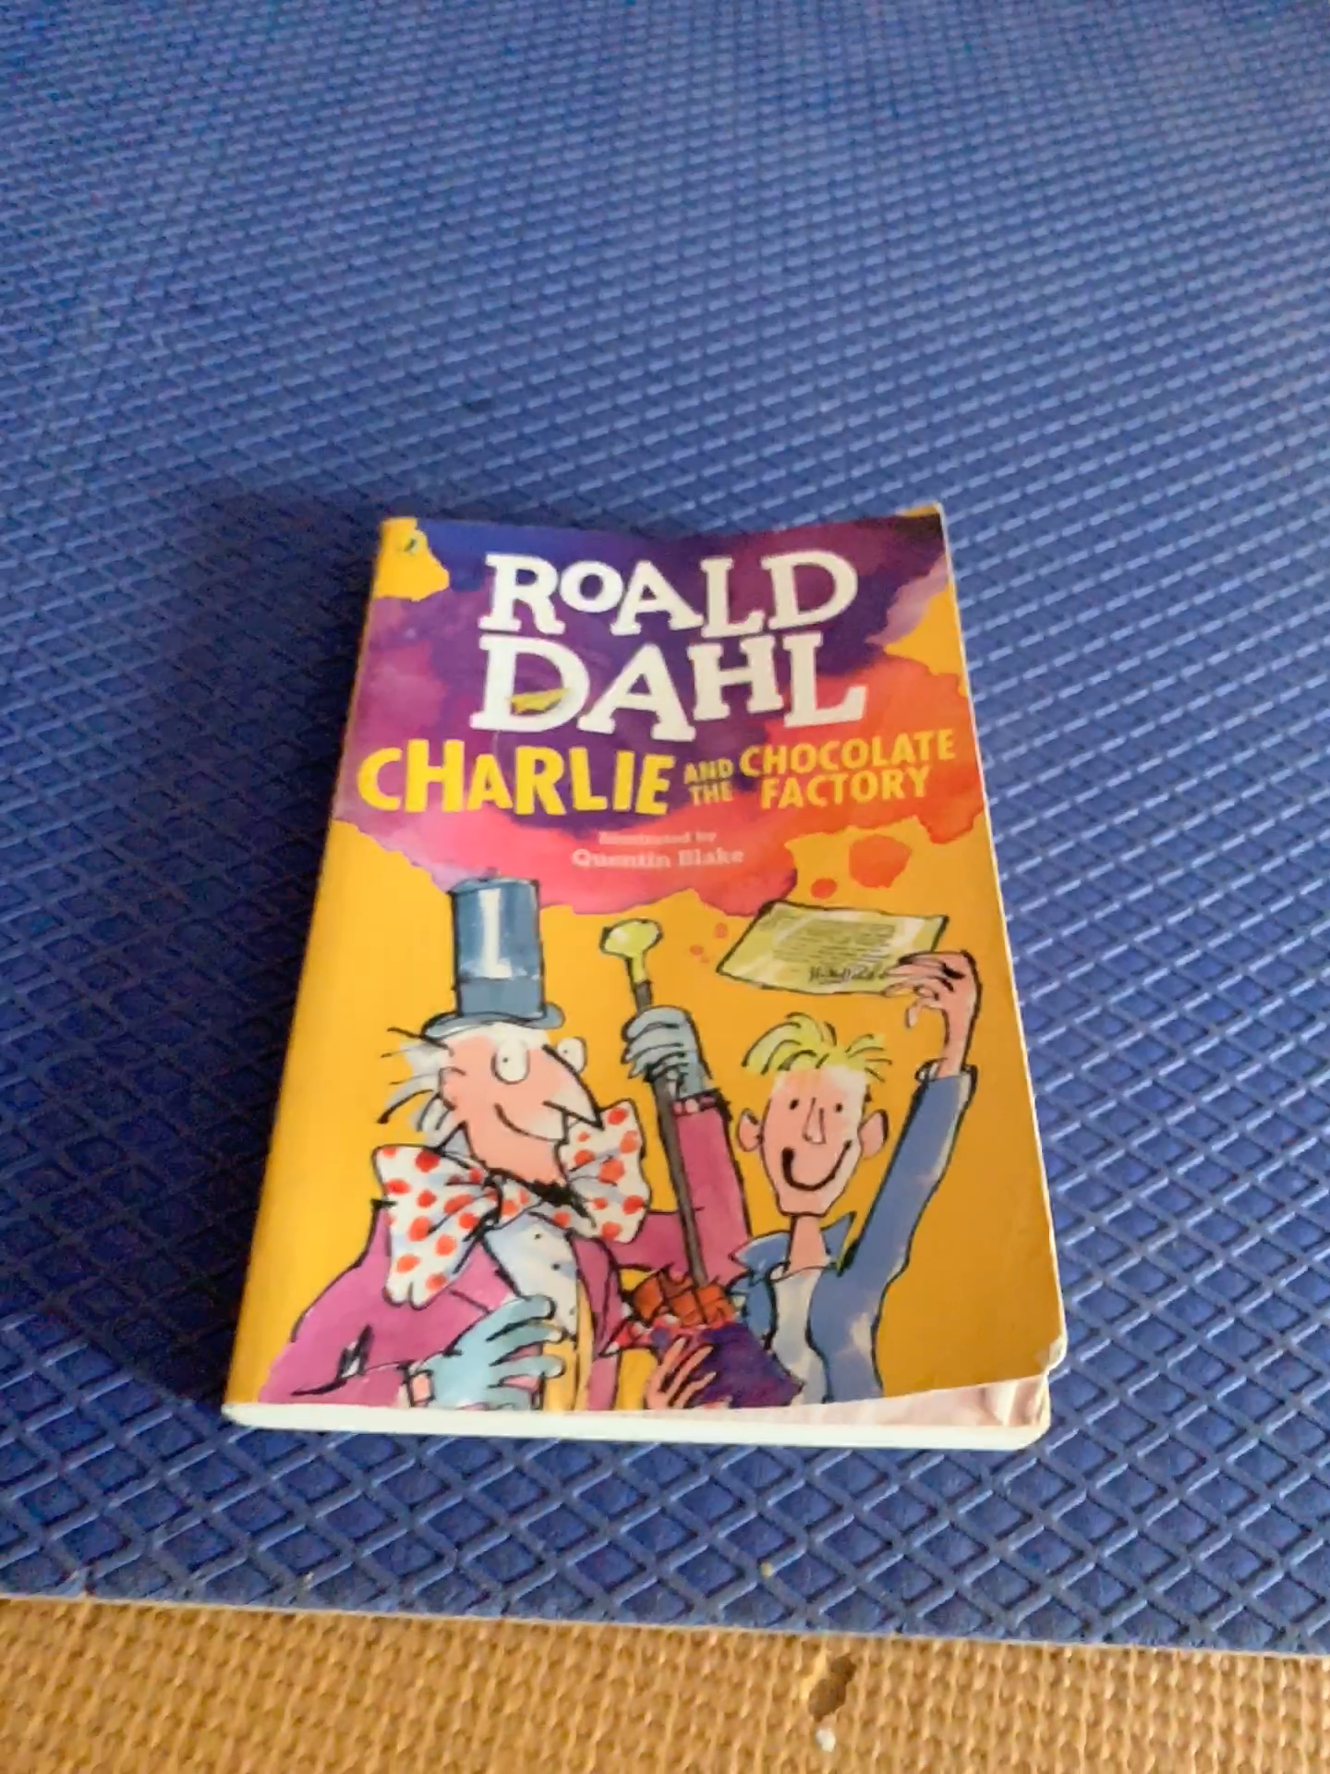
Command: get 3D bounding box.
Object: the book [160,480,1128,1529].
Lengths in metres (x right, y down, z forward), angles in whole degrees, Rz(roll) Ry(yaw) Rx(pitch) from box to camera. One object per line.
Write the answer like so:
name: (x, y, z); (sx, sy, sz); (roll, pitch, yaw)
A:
book: (-0.001, 0.005, 0.268); (0.140, 0.020, 0.211); (4, 56, -4)
